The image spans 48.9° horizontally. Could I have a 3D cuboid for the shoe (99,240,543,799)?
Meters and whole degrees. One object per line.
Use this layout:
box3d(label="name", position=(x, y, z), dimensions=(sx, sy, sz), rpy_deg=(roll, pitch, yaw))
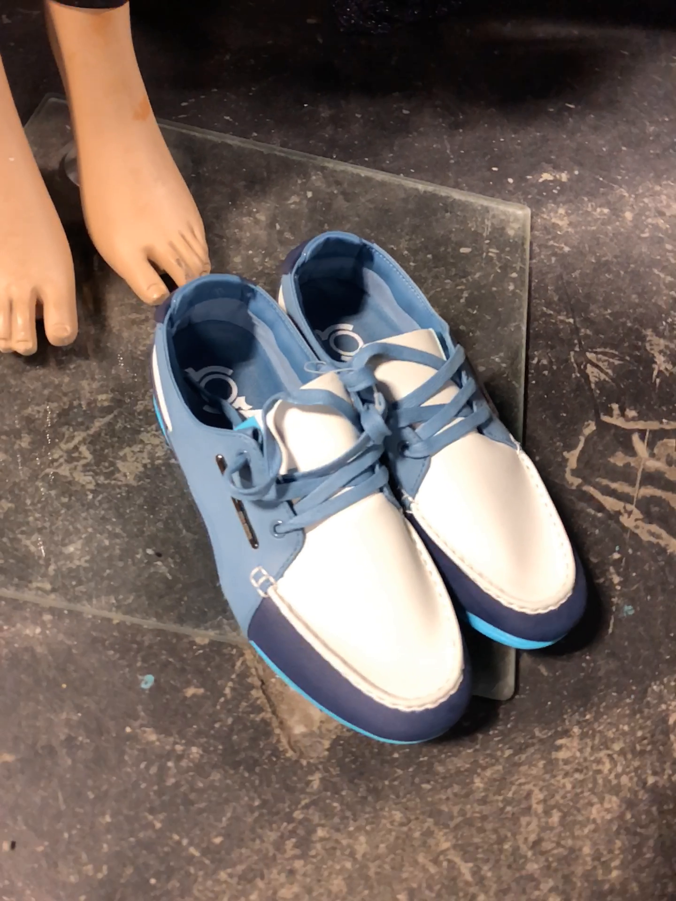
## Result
box3d(label="shoe", position=(-0.026, 0.026, 0.386), dimensions=(0.090, 0.099, 0.261), rpy_deg=(-23, 65, -22))

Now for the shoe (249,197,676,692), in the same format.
box3d(label="shoe", position=(0.051, -0.011, 0.423), dimensions=(0.100, 0.099, 0.251), rpy_deg=(-24, 65, -20))
